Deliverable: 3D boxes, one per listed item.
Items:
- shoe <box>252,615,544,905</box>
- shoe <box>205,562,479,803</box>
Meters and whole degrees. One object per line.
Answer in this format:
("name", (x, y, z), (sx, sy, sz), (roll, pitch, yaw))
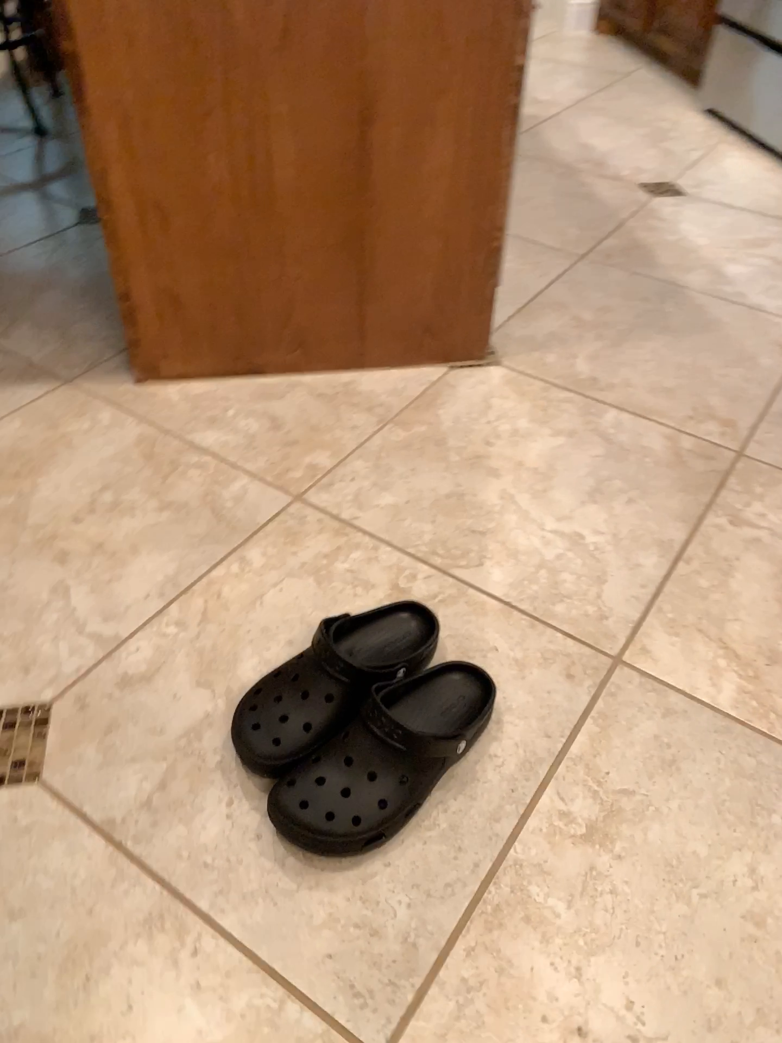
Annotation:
("shoe", (0.012, 0.229, 0.817), (0.278, 0.085, 0.124), (-32, 52, -30))
("shoe", (-0.048, 0.168, 0.884), (0.278, 0.085, 0.114), (-28, 50, -28))
